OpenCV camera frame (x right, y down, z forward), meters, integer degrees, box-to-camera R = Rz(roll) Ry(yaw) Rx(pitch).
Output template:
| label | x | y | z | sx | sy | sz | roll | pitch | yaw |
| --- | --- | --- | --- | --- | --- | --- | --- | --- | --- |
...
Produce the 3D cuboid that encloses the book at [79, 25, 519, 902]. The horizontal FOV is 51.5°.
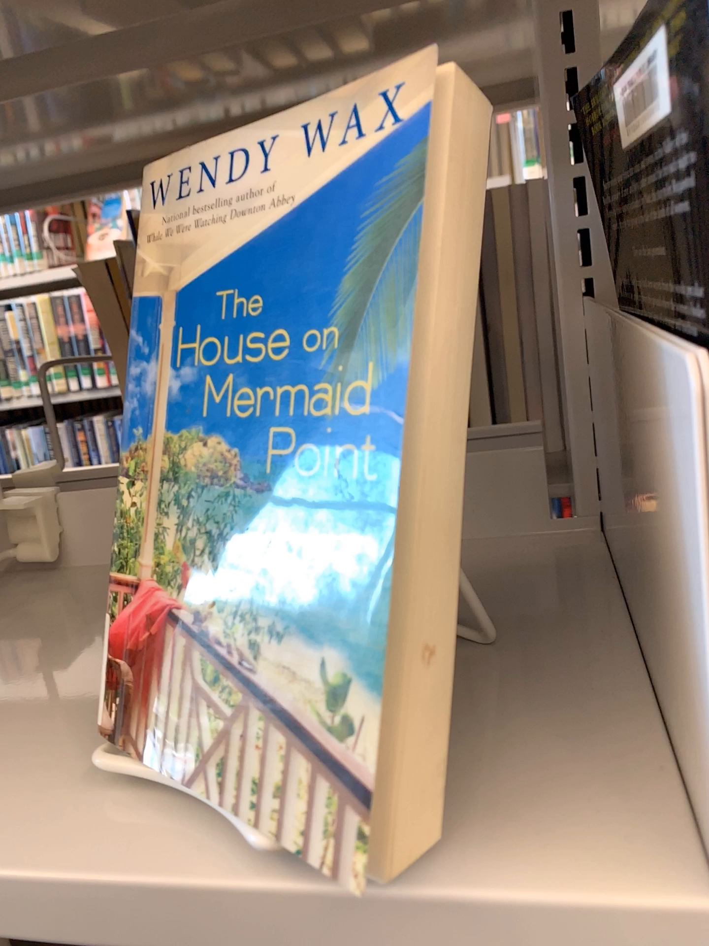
| label | x | y | z | sx | sy | sz | roll | pitch | yaw |
| --- | --- | --- | --- | --- | --- | --- | --- | --- | --- |
| book | -0.025 | -0.005 | 0.222 | 0.131 | 0.193 | 0.043 | 3 | -2 | 44 |
